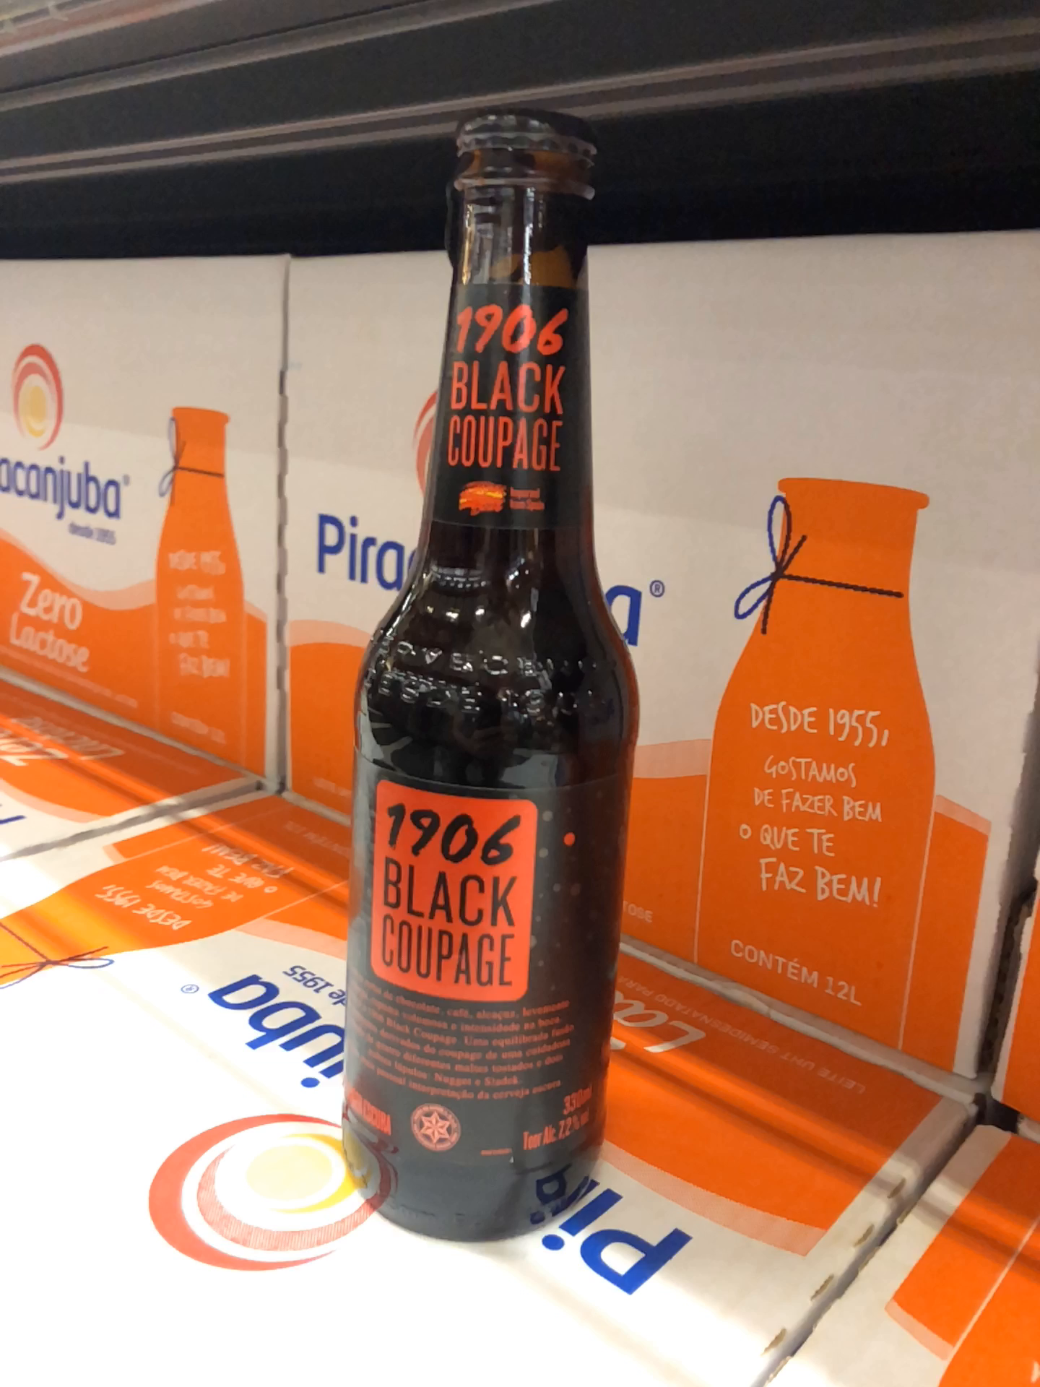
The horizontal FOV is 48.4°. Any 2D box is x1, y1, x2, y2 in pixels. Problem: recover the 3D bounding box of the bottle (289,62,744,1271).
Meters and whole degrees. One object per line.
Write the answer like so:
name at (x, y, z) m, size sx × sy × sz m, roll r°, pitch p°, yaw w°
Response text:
bottle at (-0.001, -0.002, 0.240) m, size 0.070 × 0.219 × 0.060 m, roll 6°, pitch 14°, yaw 10°
